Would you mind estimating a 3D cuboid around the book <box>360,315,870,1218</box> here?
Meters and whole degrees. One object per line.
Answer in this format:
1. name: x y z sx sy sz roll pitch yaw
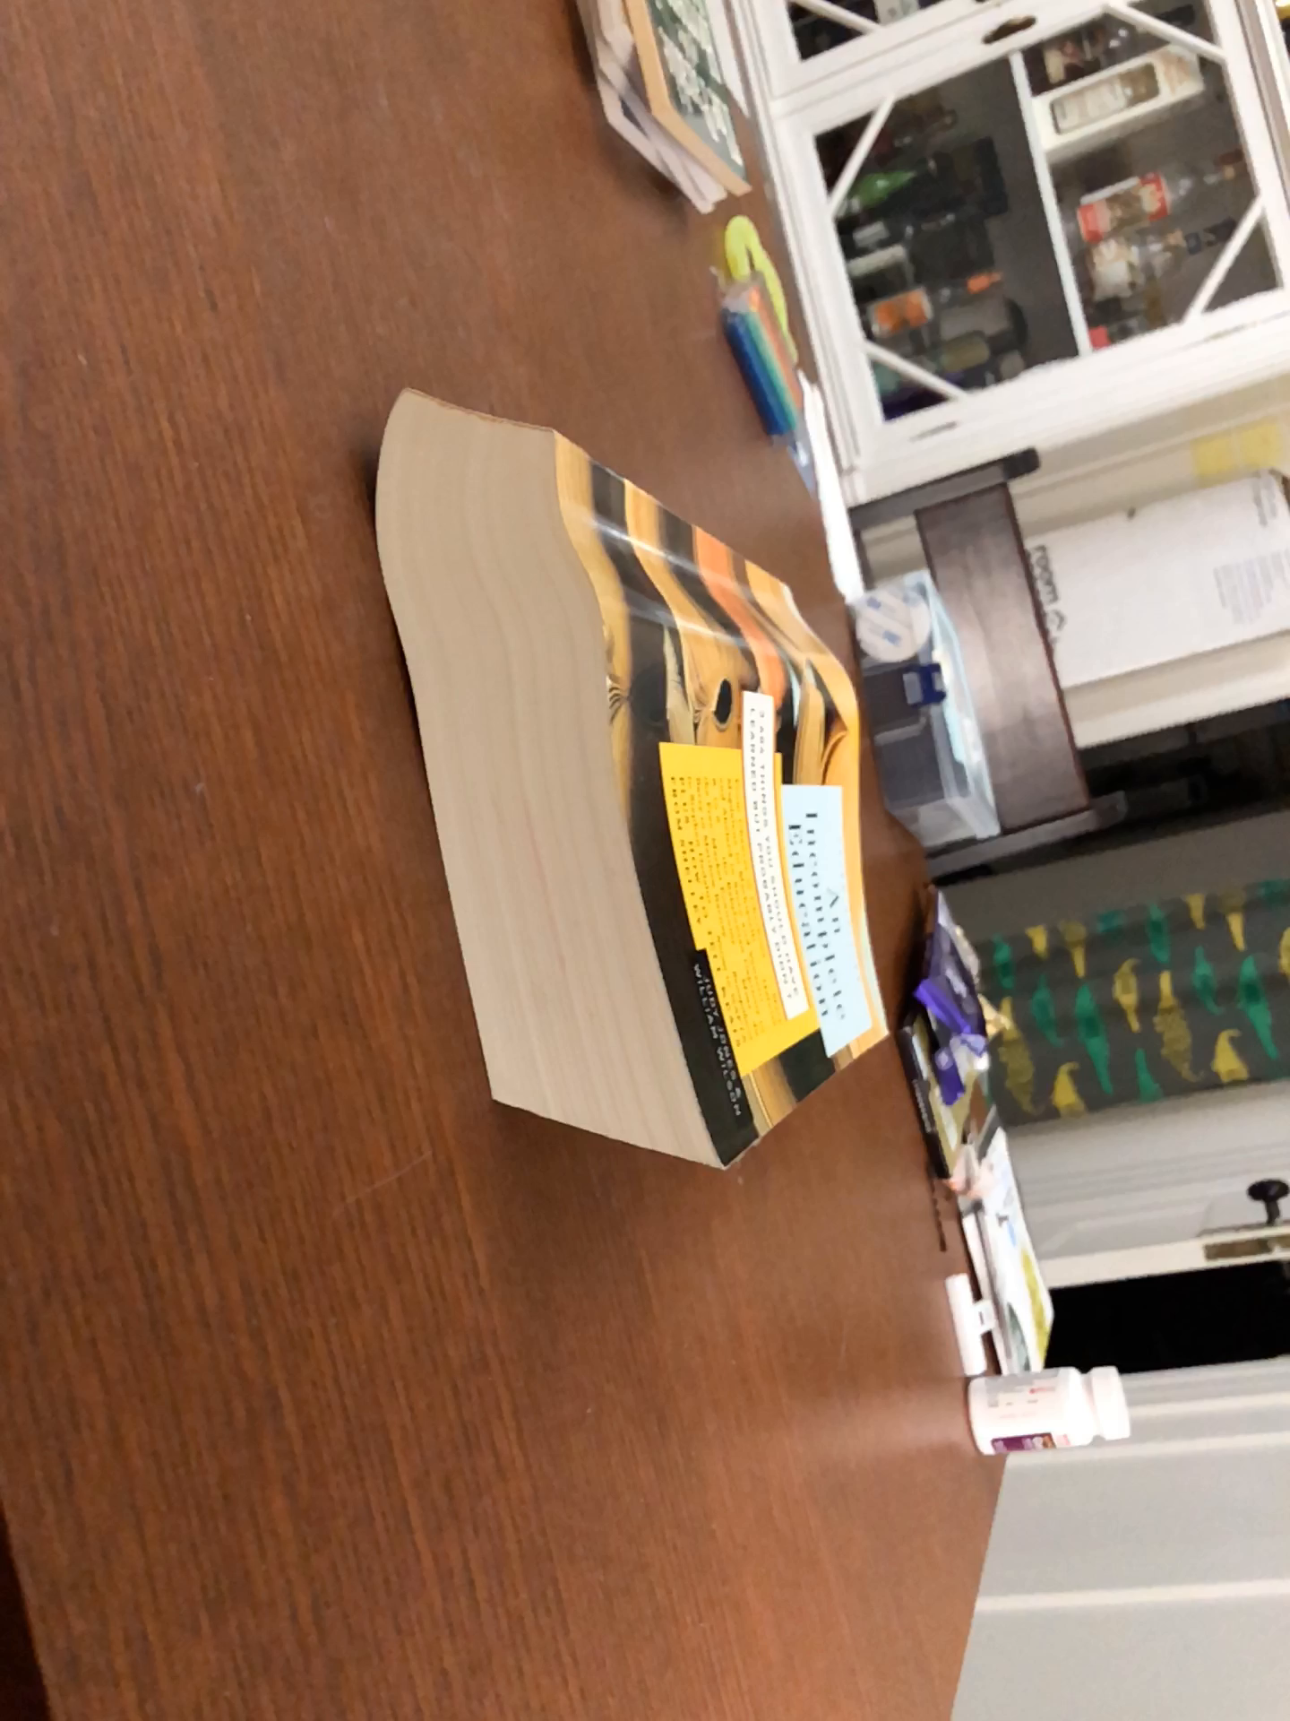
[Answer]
1. book: 0.010 -0.025 0.459 0.251 0.060 0.210 -7 93 -70
